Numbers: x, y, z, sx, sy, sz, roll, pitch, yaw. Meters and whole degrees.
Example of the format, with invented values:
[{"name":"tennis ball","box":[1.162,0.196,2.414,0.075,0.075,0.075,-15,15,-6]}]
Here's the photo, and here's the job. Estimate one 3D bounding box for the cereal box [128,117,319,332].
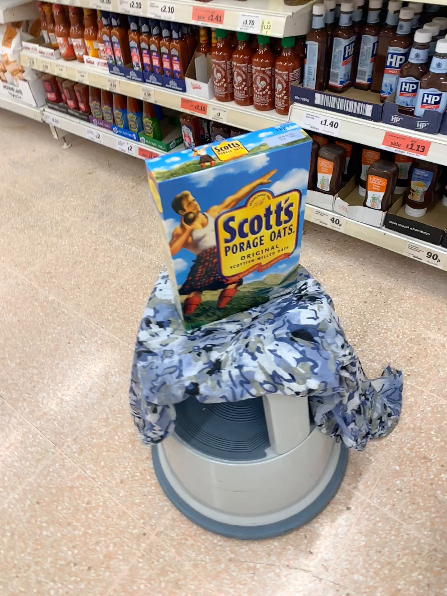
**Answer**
[{"name":"cereal box","box":[0.009,-0.087,0.608,0.210,0.248,0.060,-19,50,-12]}]
